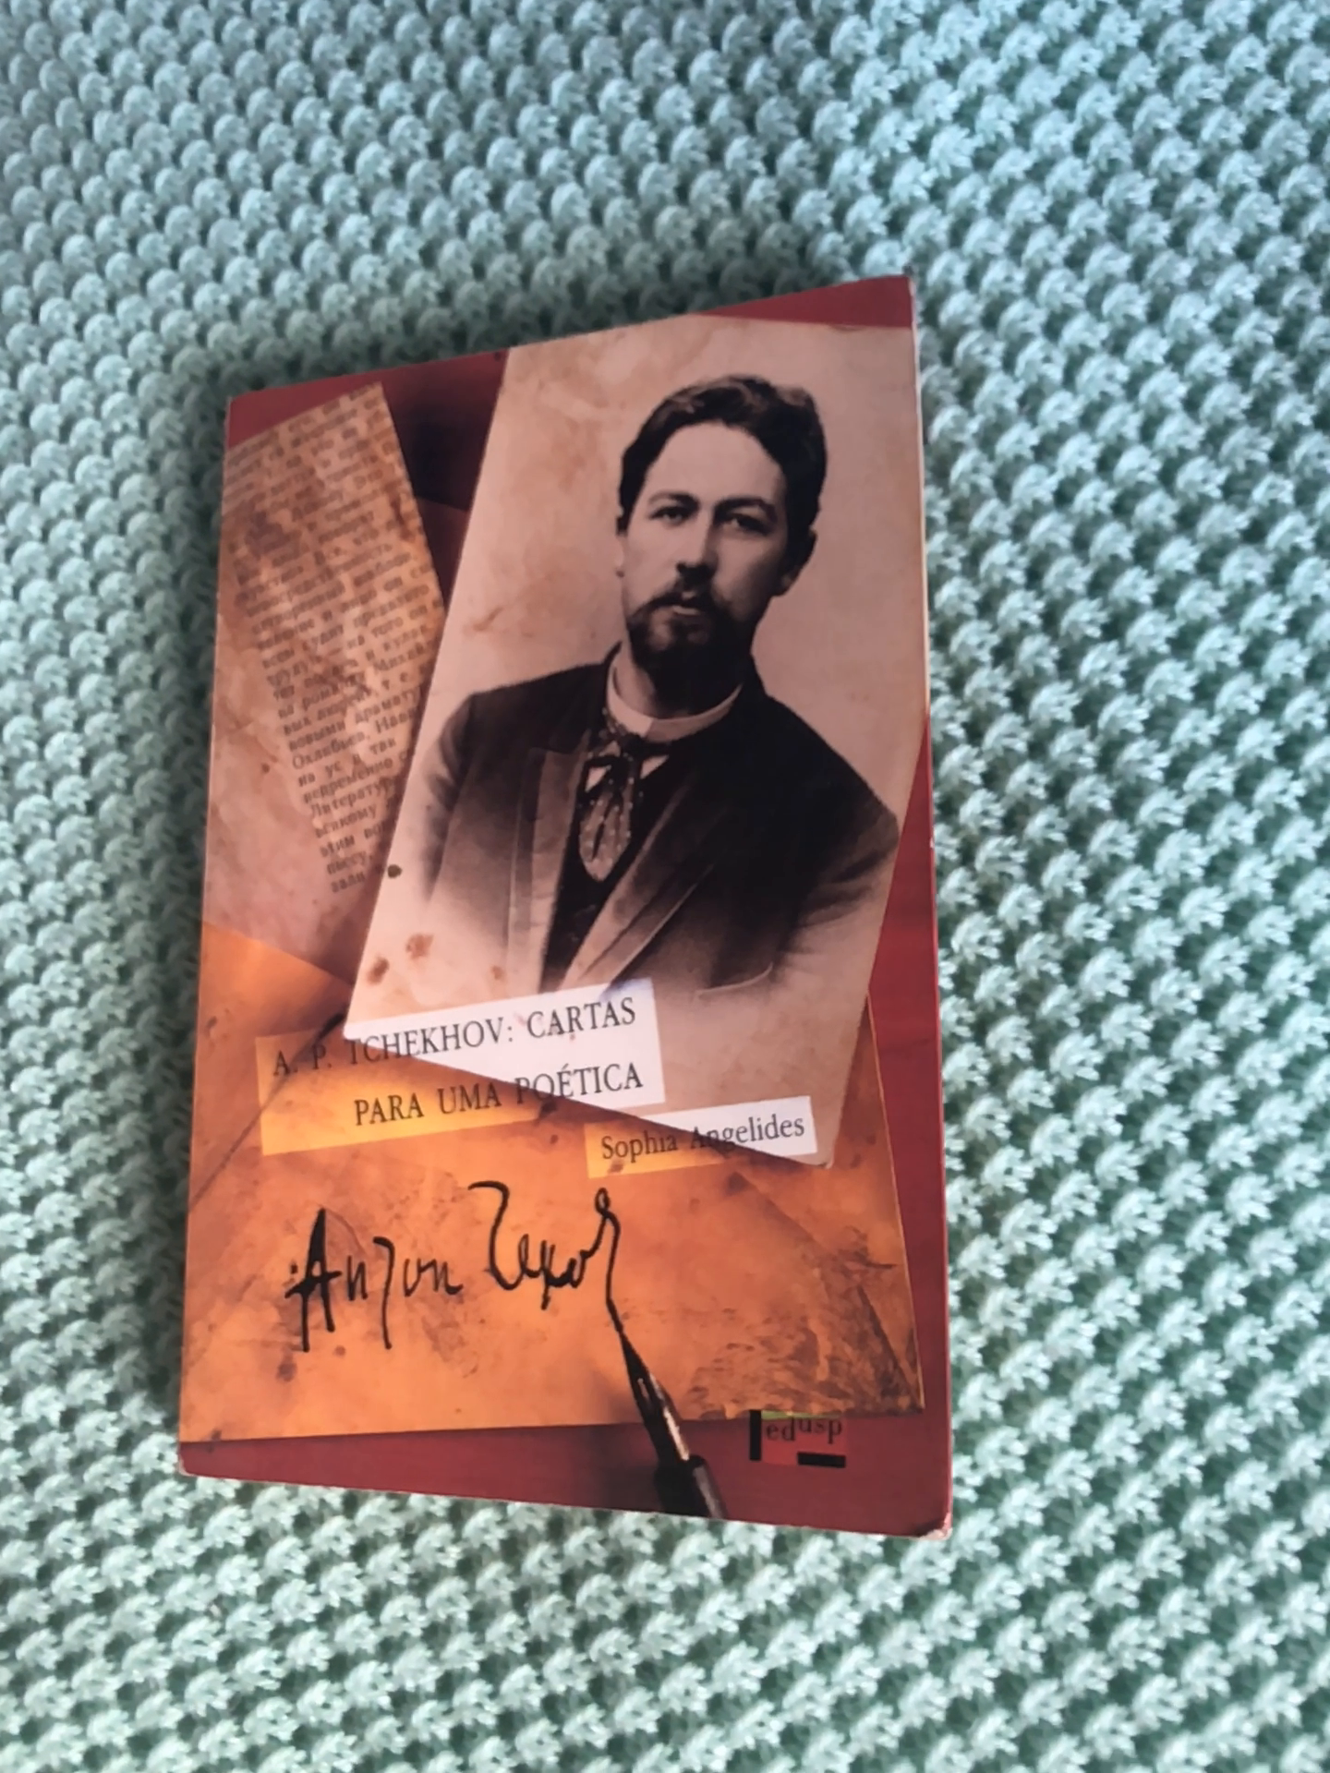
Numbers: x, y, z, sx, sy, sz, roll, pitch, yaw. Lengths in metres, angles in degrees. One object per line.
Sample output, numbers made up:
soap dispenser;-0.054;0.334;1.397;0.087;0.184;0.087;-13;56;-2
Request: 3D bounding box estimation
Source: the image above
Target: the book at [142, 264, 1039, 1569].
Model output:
book;-0.016;0.004;0.269;0.150;0.030;0.210;-3;82;13
